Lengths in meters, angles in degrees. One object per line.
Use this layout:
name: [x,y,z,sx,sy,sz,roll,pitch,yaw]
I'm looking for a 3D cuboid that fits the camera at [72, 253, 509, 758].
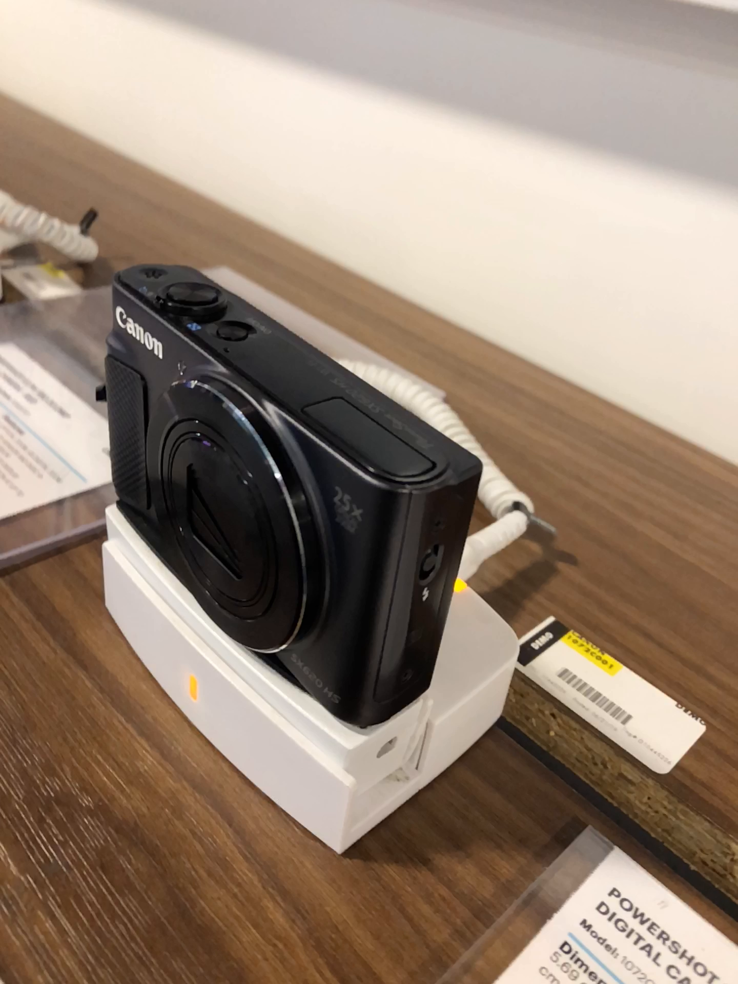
camera: [-0.025,-0.004,0.176,0.030,0.060,0.100,-20,43,-39]
